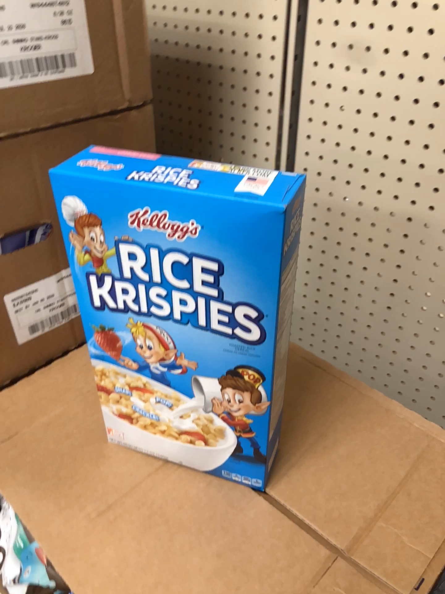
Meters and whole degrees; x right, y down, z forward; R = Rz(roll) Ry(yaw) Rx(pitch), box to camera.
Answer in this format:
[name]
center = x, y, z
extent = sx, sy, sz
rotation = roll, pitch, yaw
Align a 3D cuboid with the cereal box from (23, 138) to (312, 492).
[cereal box]
center = -0.038, 0.032, 0.473
extent = 0.210, 0.329, 0.070
rotation = 11, 39, 17
